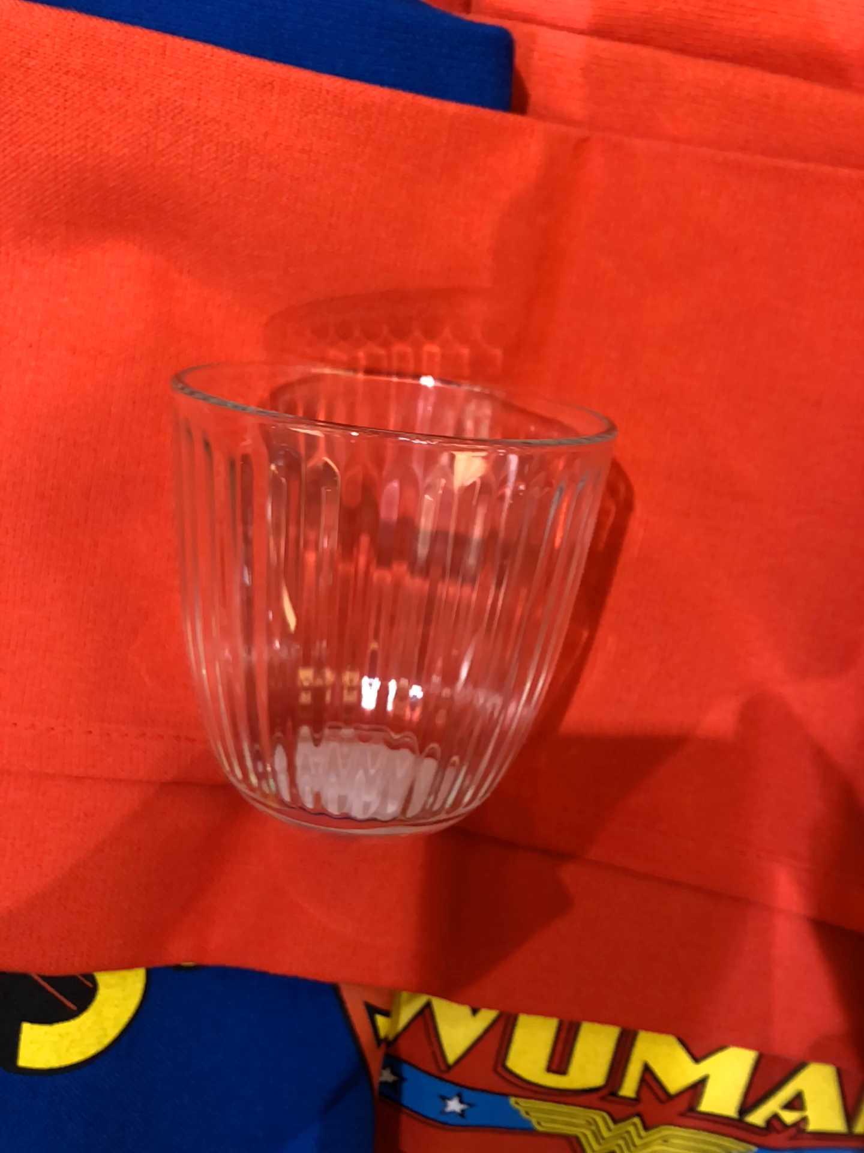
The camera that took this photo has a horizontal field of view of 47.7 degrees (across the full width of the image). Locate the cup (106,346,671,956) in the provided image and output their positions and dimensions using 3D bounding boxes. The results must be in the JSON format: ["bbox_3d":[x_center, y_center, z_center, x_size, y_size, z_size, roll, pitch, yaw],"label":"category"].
[{"bbox_3d":[-0.012,0.011,0.185,0.080,0.060,0.090,6,110,-5],"label":"cup"}]
